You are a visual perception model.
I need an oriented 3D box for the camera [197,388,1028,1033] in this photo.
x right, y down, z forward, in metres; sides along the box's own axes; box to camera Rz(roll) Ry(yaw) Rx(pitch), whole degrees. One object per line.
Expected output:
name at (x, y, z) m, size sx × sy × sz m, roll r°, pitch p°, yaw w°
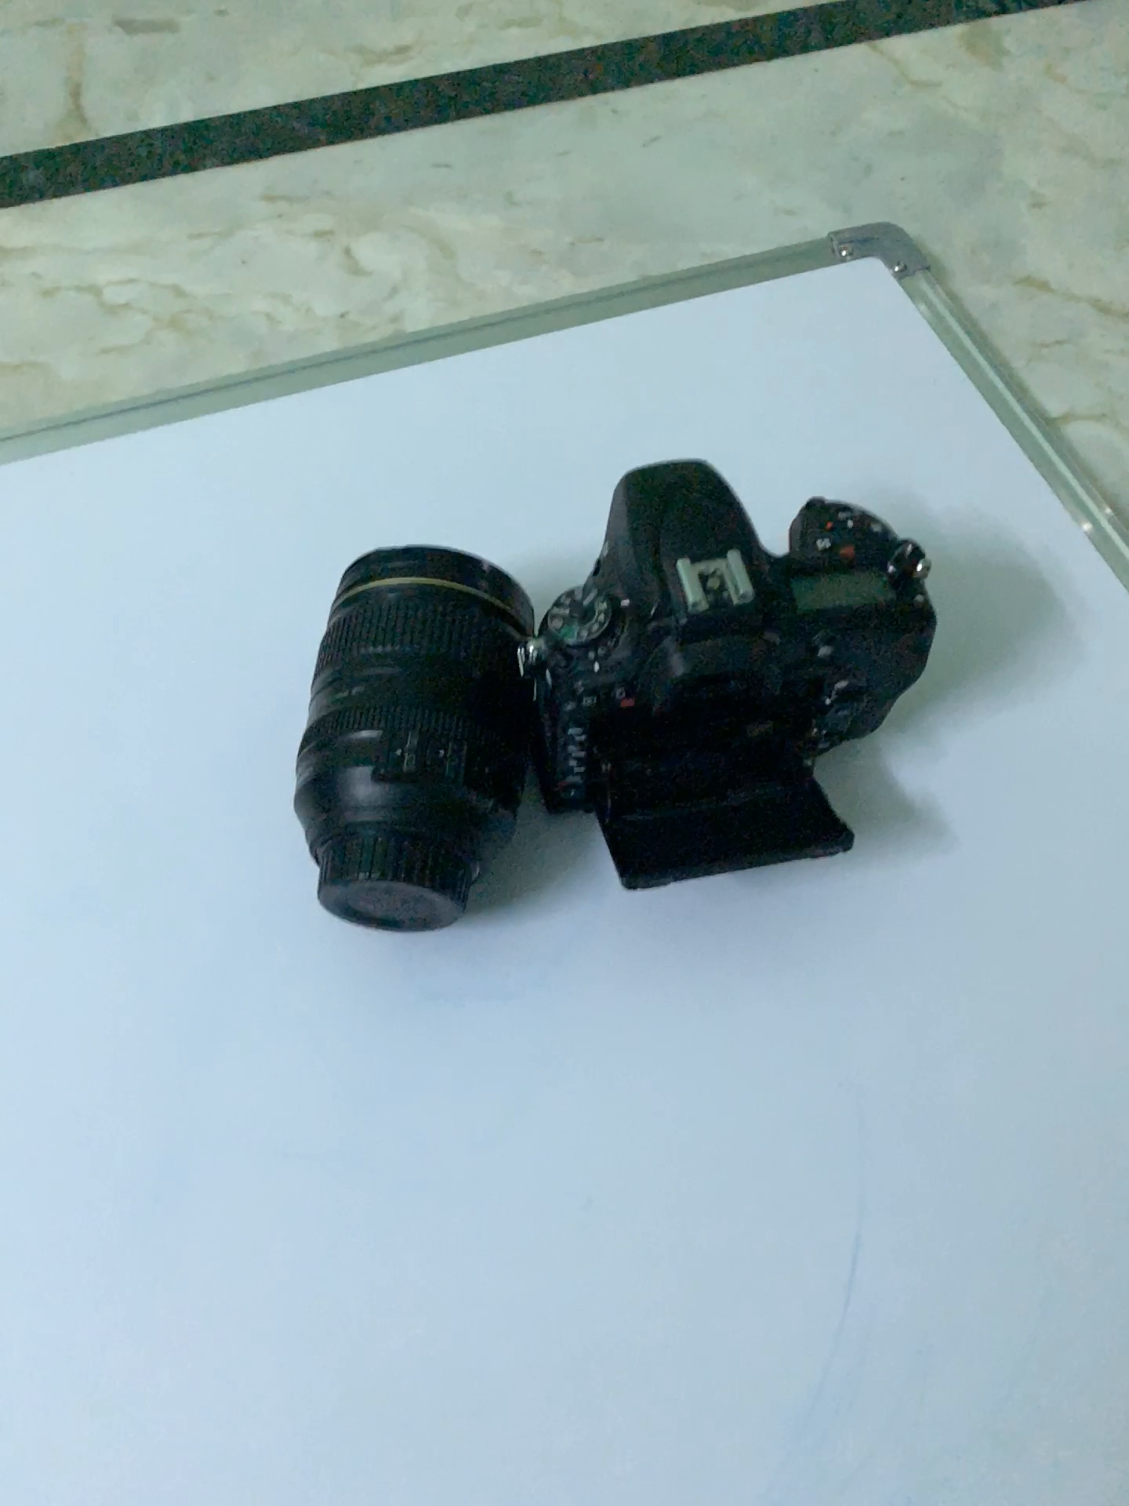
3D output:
camera at (0.008, -0.019, 0.427) m, size 0.240 × 0.100 × 0.160 m, roll -14°, pitch 61°, yaw -9°
